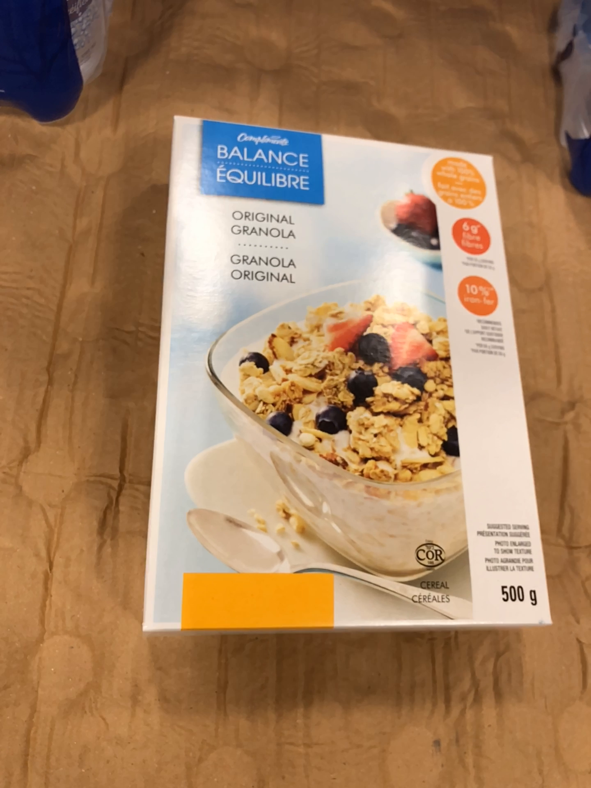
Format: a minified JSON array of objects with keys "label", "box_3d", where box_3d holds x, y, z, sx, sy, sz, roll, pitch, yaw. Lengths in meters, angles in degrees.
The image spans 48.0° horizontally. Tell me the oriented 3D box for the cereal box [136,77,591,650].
[{"label":"cereal box","box_3d":[0.026,-0.017,0.310,0.180,0.050,0.250,3,70,-12]}]
